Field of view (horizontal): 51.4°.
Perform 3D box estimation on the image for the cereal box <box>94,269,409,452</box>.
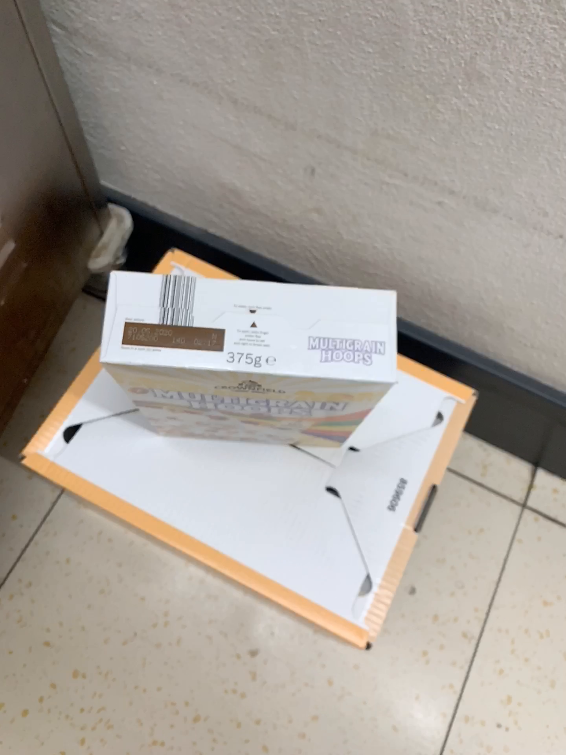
[{"bbox_3d":[-0.023,0.003,0.502,0.200,0.249,0.070,4,74,-2],"label":"cereal box"}]
